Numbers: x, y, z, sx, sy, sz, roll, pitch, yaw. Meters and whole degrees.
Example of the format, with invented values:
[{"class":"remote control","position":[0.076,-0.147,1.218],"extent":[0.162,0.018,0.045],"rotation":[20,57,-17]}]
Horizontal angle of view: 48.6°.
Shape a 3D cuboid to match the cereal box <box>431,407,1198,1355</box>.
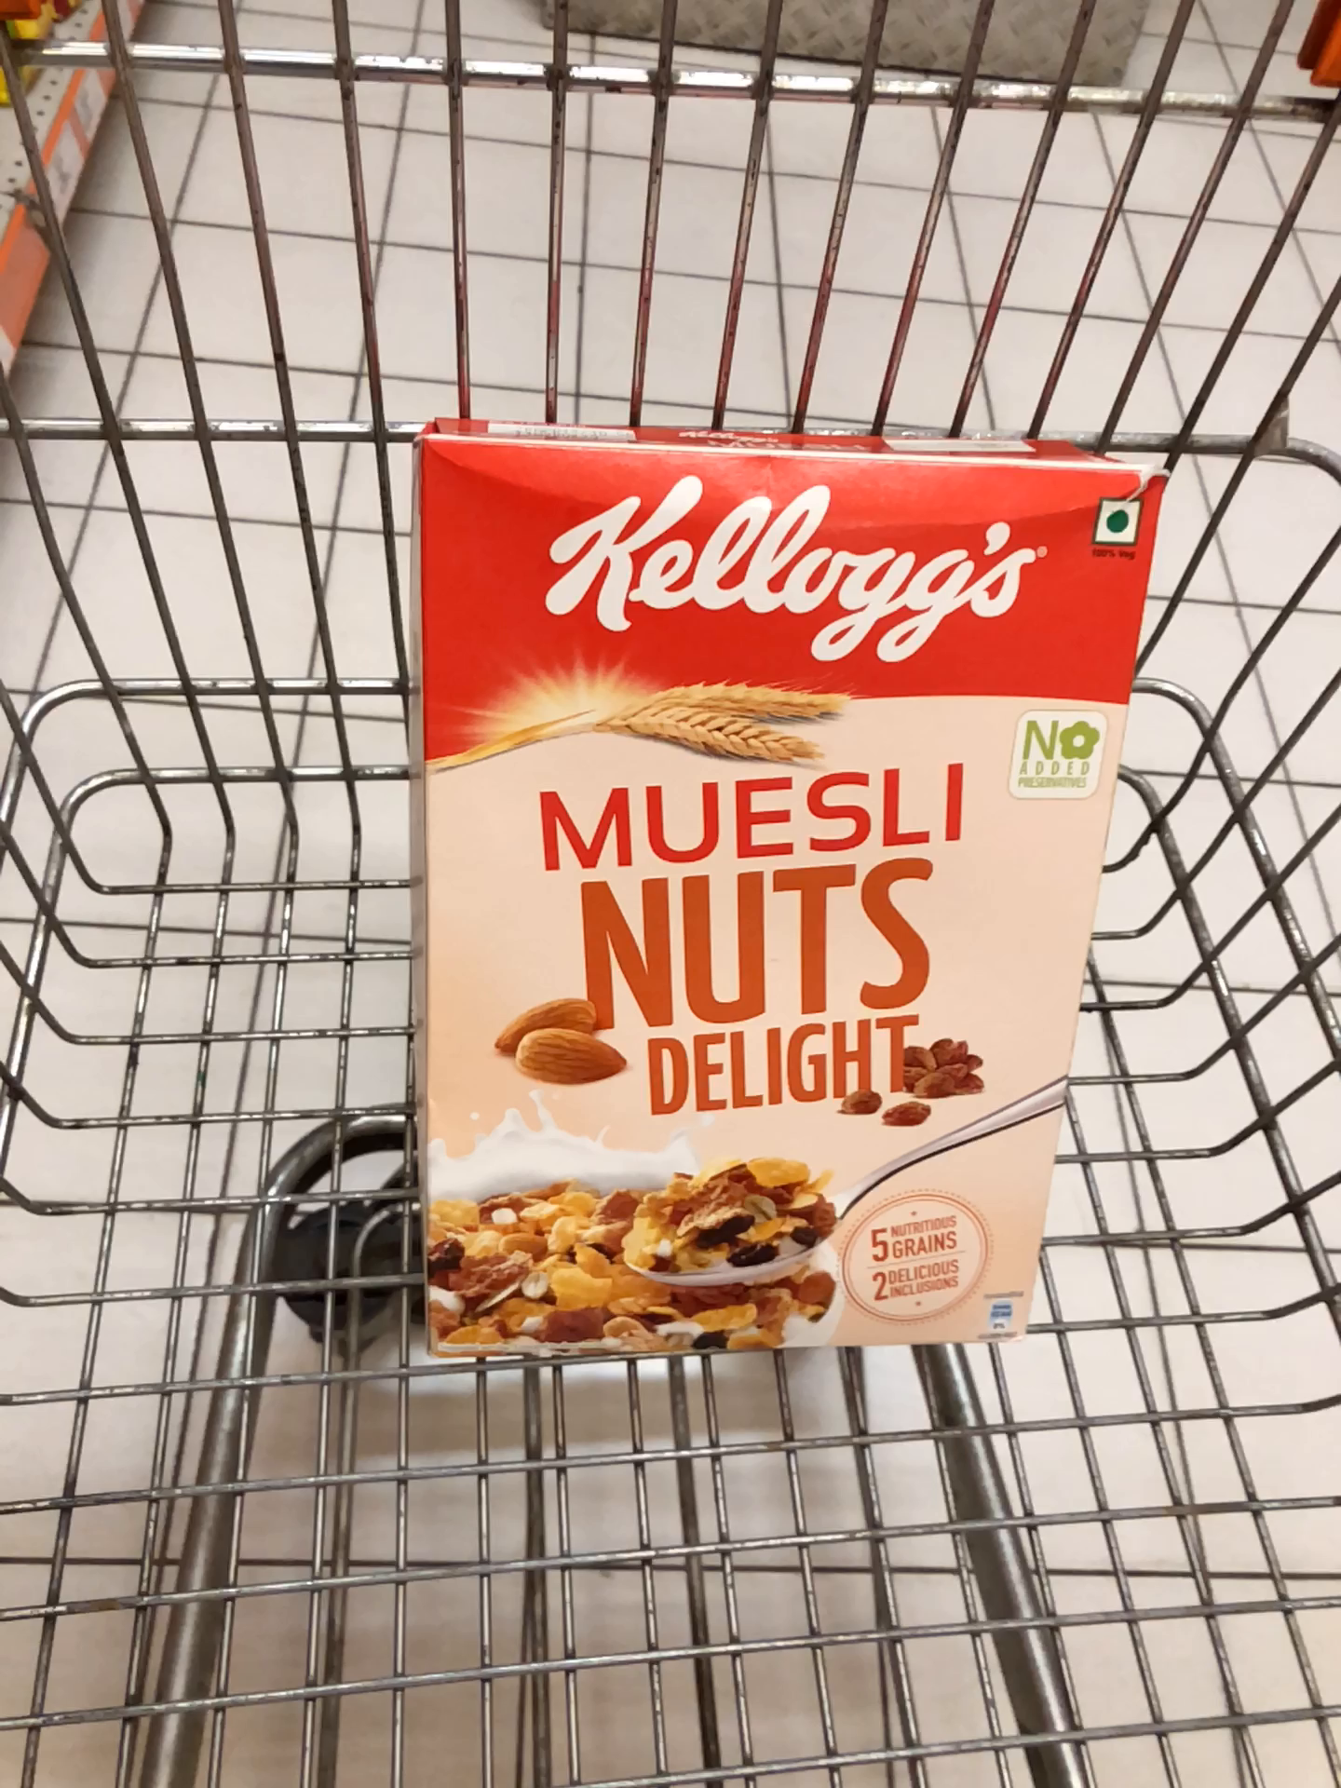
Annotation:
[{"class":"cereal box","position":[0.026,0.000,0.417],"extent":[0.180,0.249,0.070],"rotation":[1,19,-7]}]
